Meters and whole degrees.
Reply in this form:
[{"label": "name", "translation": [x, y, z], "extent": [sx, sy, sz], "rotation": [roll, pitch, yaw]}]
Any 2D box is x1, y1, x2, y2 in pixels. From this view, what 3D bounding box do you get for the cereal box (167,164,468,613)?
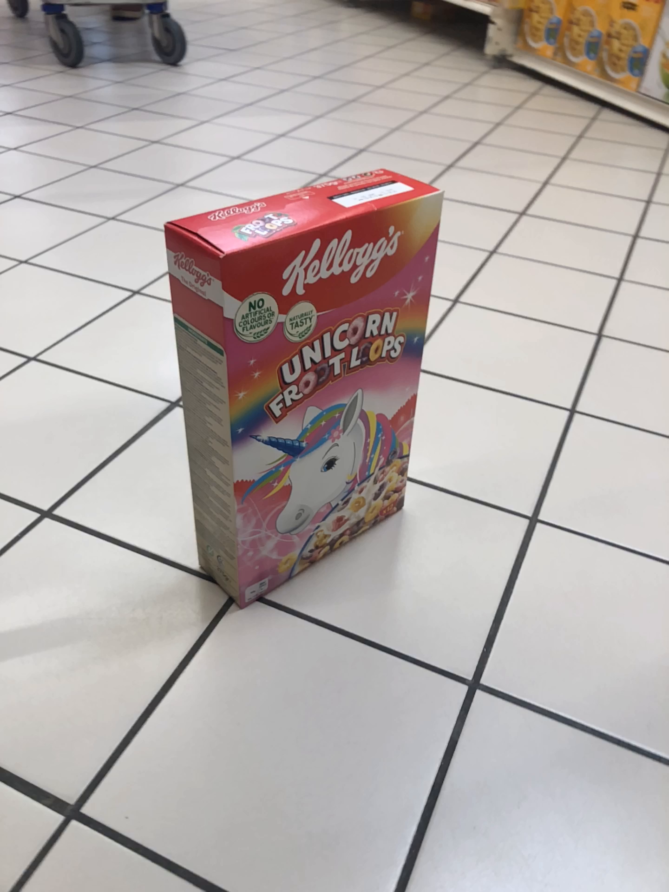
[{"label": "cereal box", "translation": [-0.011, -0.041, 0.572], "extent": [0.201, 0.298, 0.070], "rotation": [-27, 46, -34]}]
